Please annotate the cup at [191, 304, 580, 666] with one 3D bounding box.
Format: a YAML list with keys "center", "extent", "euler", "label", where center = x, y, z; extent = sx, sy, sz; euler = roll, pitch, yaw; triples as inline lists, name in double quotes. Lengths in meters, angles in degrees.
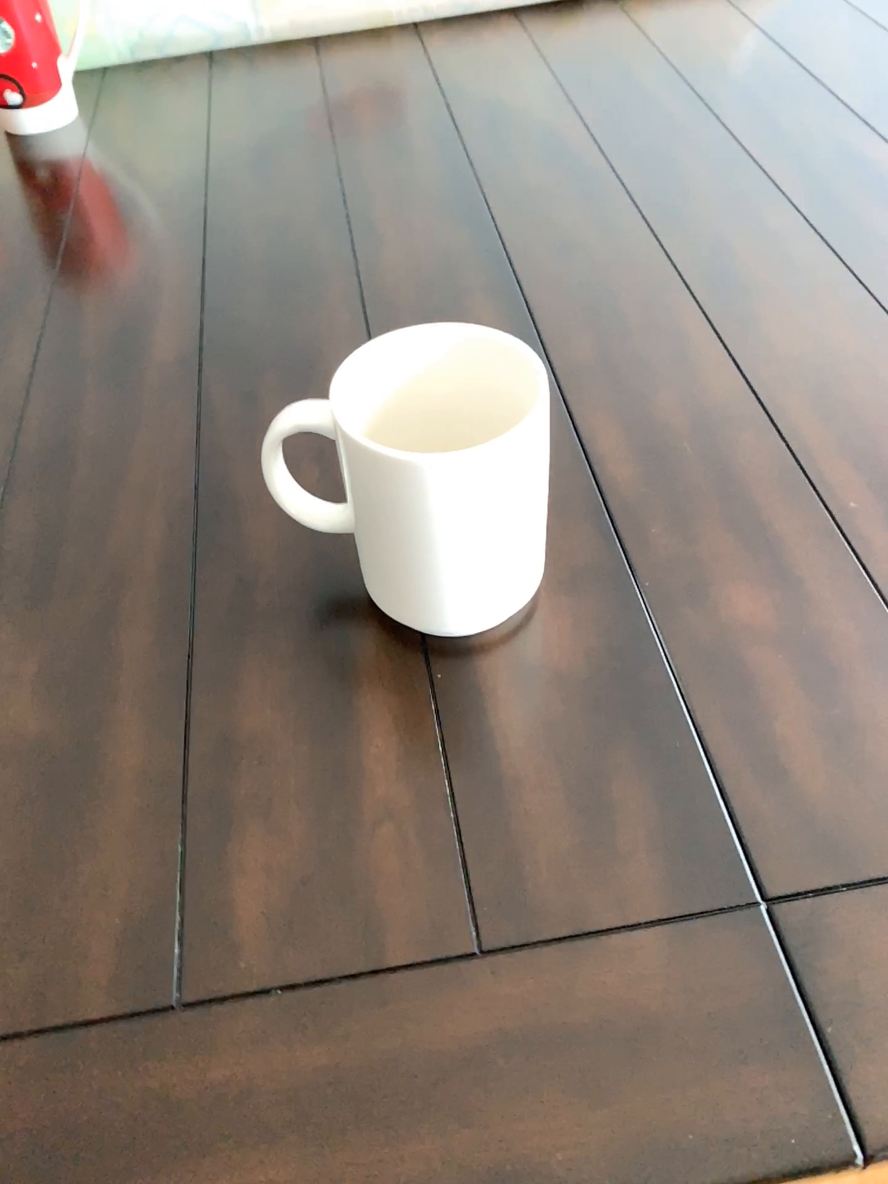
- center: [-0.017, -0.046, 0.391]
  extent: [0.130, 0.110, 0.080]
  euler: [11, 50, 14]
  label: "cup"
